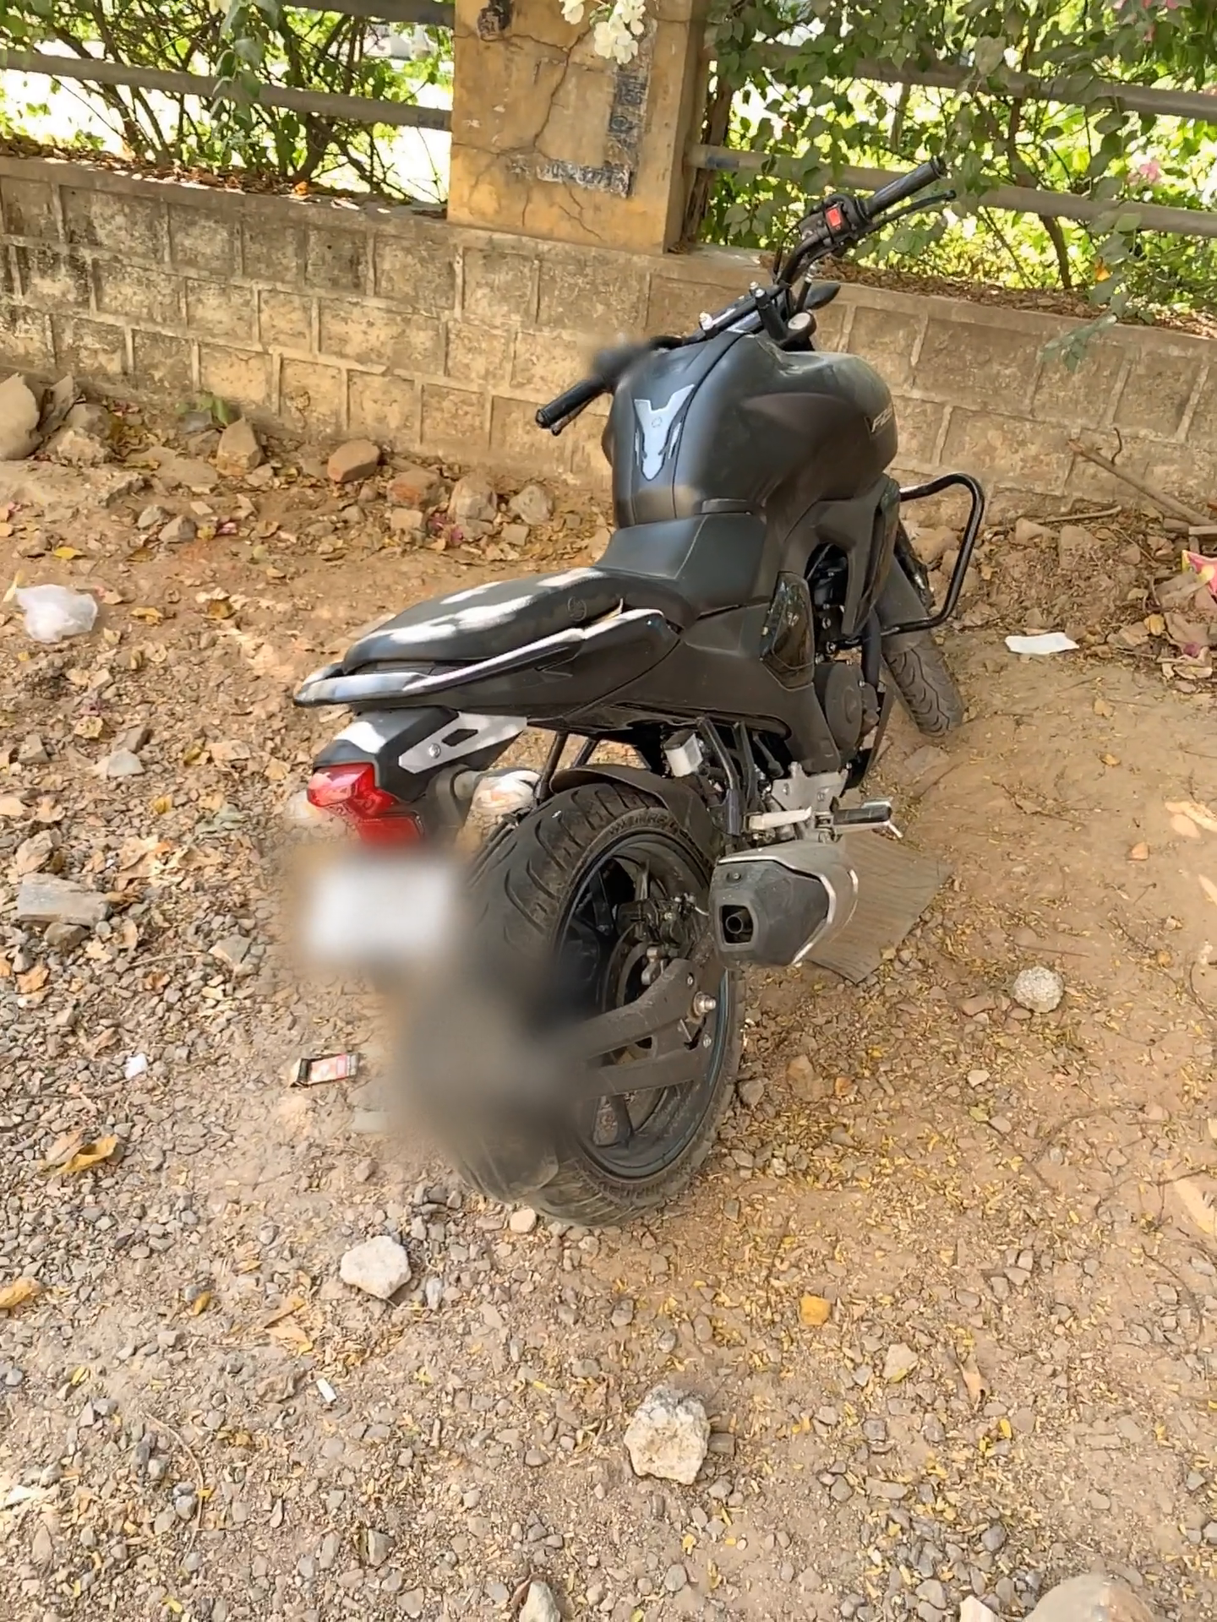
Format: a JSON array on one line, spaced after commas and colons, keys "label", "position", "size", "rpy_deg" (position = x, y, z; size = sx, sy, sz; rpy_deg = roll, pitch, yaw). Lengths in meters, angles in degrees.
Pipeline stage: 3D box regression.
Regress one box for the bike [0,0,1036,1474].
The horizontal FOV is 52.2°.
[{"label": "bike", "position": [-0.011, -0.391, 2.022], "size": [0.818, 1.498, 1.763], "rpy_deg": [16, 37, 14]}]
